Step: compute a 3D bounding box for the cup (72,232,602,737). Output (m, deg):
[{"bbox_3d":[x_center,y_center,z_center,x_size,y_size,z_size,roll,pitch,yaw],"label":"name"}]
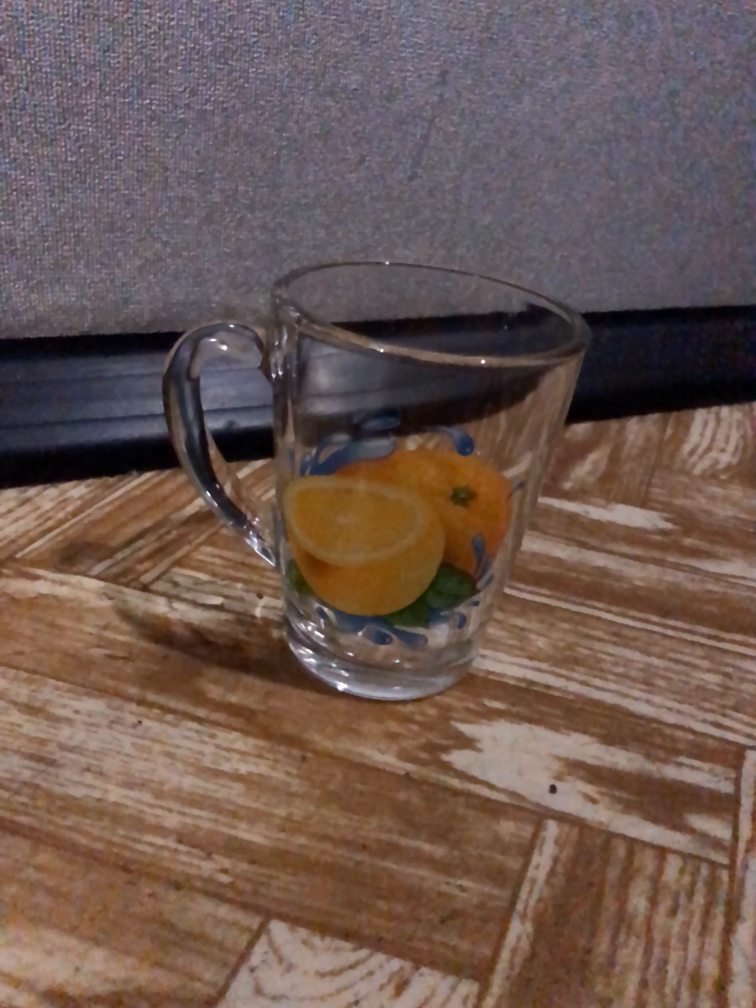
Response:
[{"bbox_3d":[-0.009,-0.011,0.240,0.116,0.098,0.085,10,30,5],"label":"cup"}]
